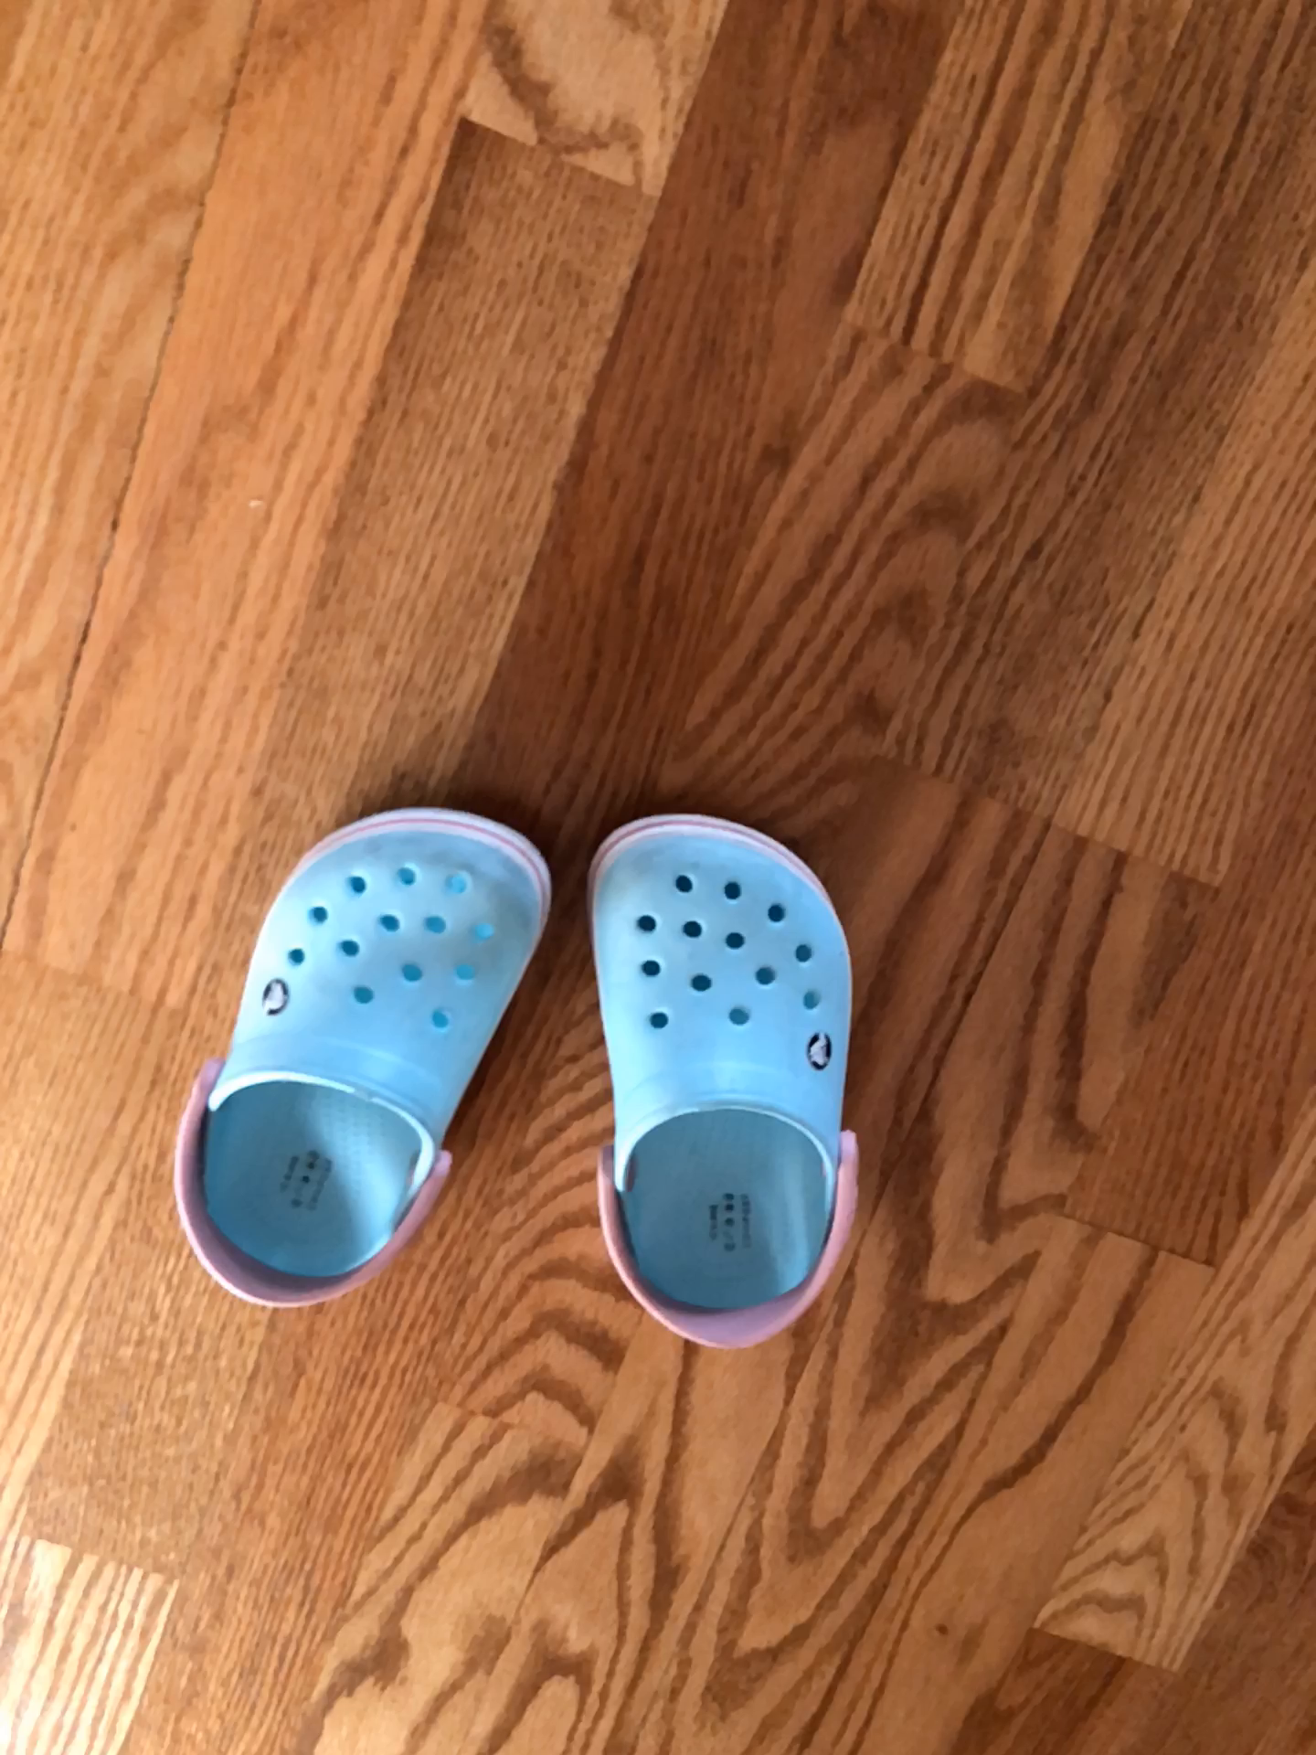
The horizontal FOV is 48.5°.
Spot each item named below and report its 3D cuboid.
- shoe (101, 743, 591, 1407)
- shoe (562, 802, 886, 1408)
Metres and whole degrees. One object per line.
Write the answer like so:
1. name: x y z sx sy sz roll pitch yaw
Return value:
1. shoe: -0.089 0.057 0.426 0.083 0.057 0.165 21 103 -6
2. shoe: 0.020 0.066 0.426 0.083 0.048 0.165 -3 104 0
